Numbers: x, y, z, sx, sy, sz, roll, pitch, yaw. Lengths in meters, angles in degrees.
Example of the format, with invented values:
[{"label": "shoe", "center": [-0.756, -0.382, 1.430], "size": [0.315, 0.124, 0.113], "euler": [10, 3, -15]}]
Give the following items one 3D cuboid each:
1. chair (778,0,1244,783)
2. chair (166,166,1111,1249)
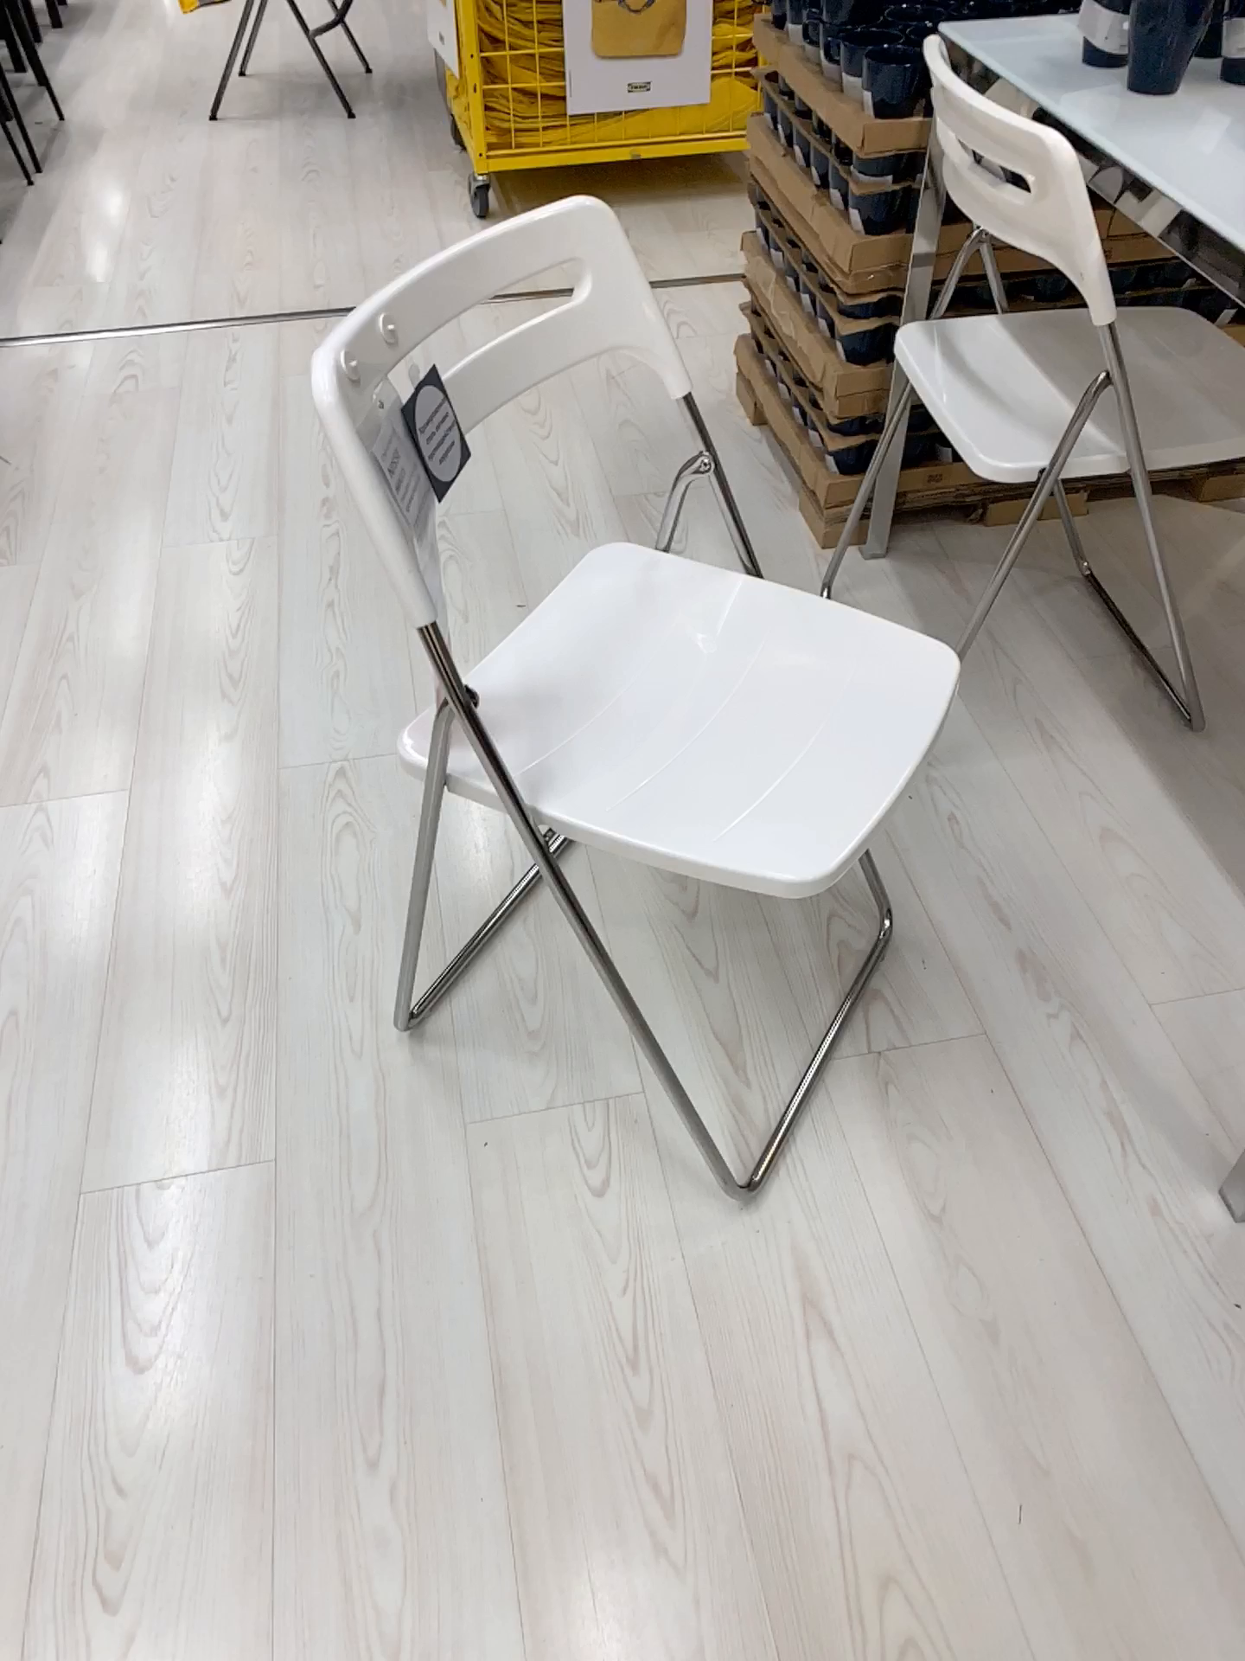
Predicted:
[{"label": "chair", "center": [0.536, -0.538, 1.579], "size": [0.510, 0.726, 0.533], "euler": [-8, 44, -7]}, {"label": "chair", "center": [0.043, -0.114, 1.166], "size": [0.500, 0.716, 0.512], "euler": [21, 48, 21]}]
